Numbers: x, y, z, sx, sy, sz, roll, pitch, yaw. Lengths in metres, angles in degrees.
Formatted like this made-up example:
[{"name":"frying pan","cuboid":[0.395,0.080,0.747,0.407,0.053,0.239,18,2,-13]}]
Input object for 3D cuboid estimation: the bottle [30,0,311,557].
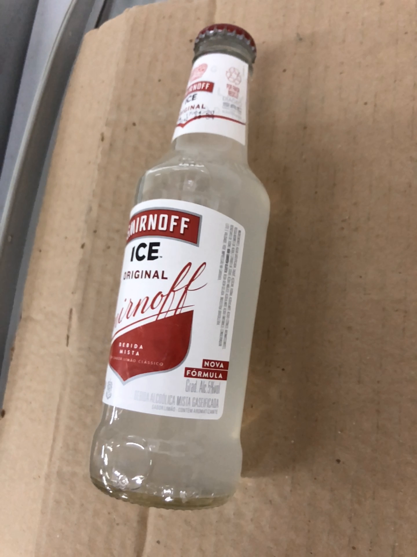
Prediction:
[{"name":"bottle","cuboid":[-0.009,-0.017,0.188,0.070,0.050,0.210,2,80,28]}]
